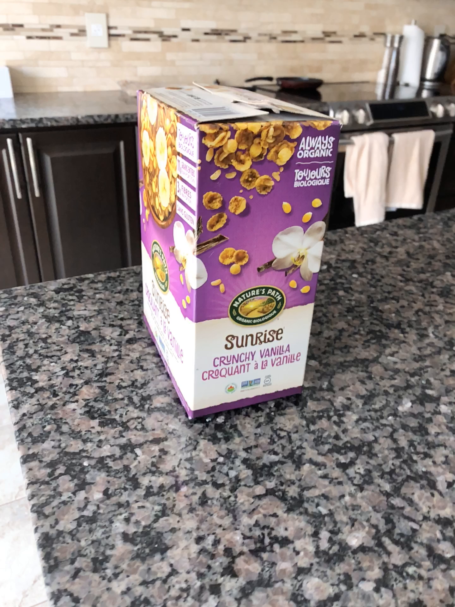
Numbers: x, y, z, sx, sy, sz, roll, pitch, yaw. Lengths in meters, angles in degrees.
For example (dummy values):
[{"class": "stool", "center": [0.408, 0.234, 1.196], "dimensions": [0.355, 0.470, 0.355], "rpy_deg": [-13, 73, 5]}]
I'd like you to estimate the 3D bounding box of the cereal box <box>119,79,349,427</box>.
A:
[{"class": "cereal box", "center": [-0.011, -0.055, 0.426], "dimensions": [0.110, 0.229, 0.181], "rpy_deg": [-9, 30, -19]}]
